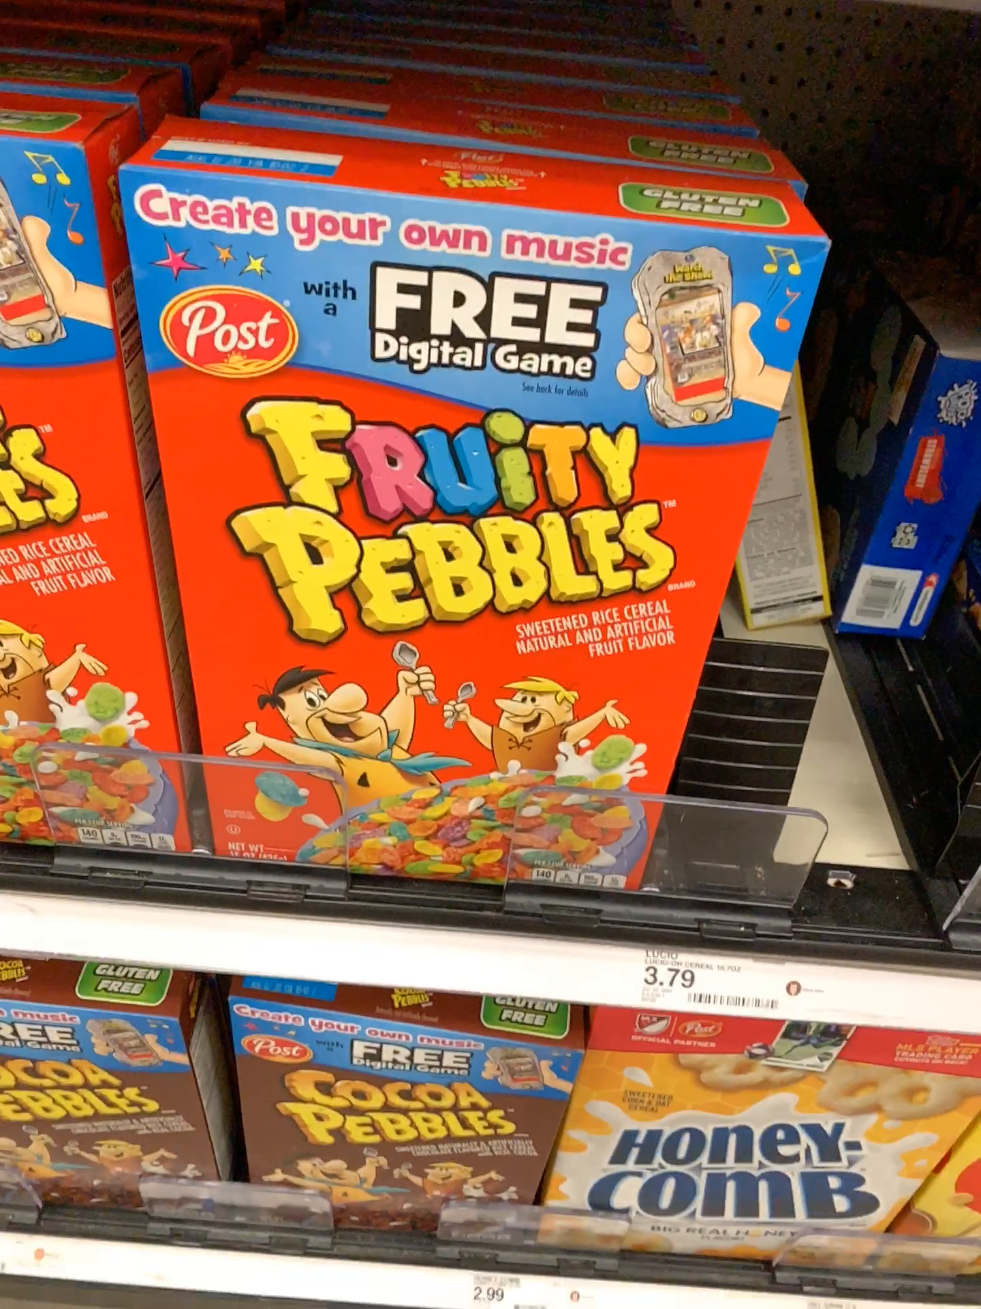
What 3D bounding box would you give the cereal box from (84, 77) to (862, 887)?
[{"bbox_3d":[-0.014,-0.035,0.375,0.200,0.288,0.060,5,40,-1],"label":"cereal box"}]
